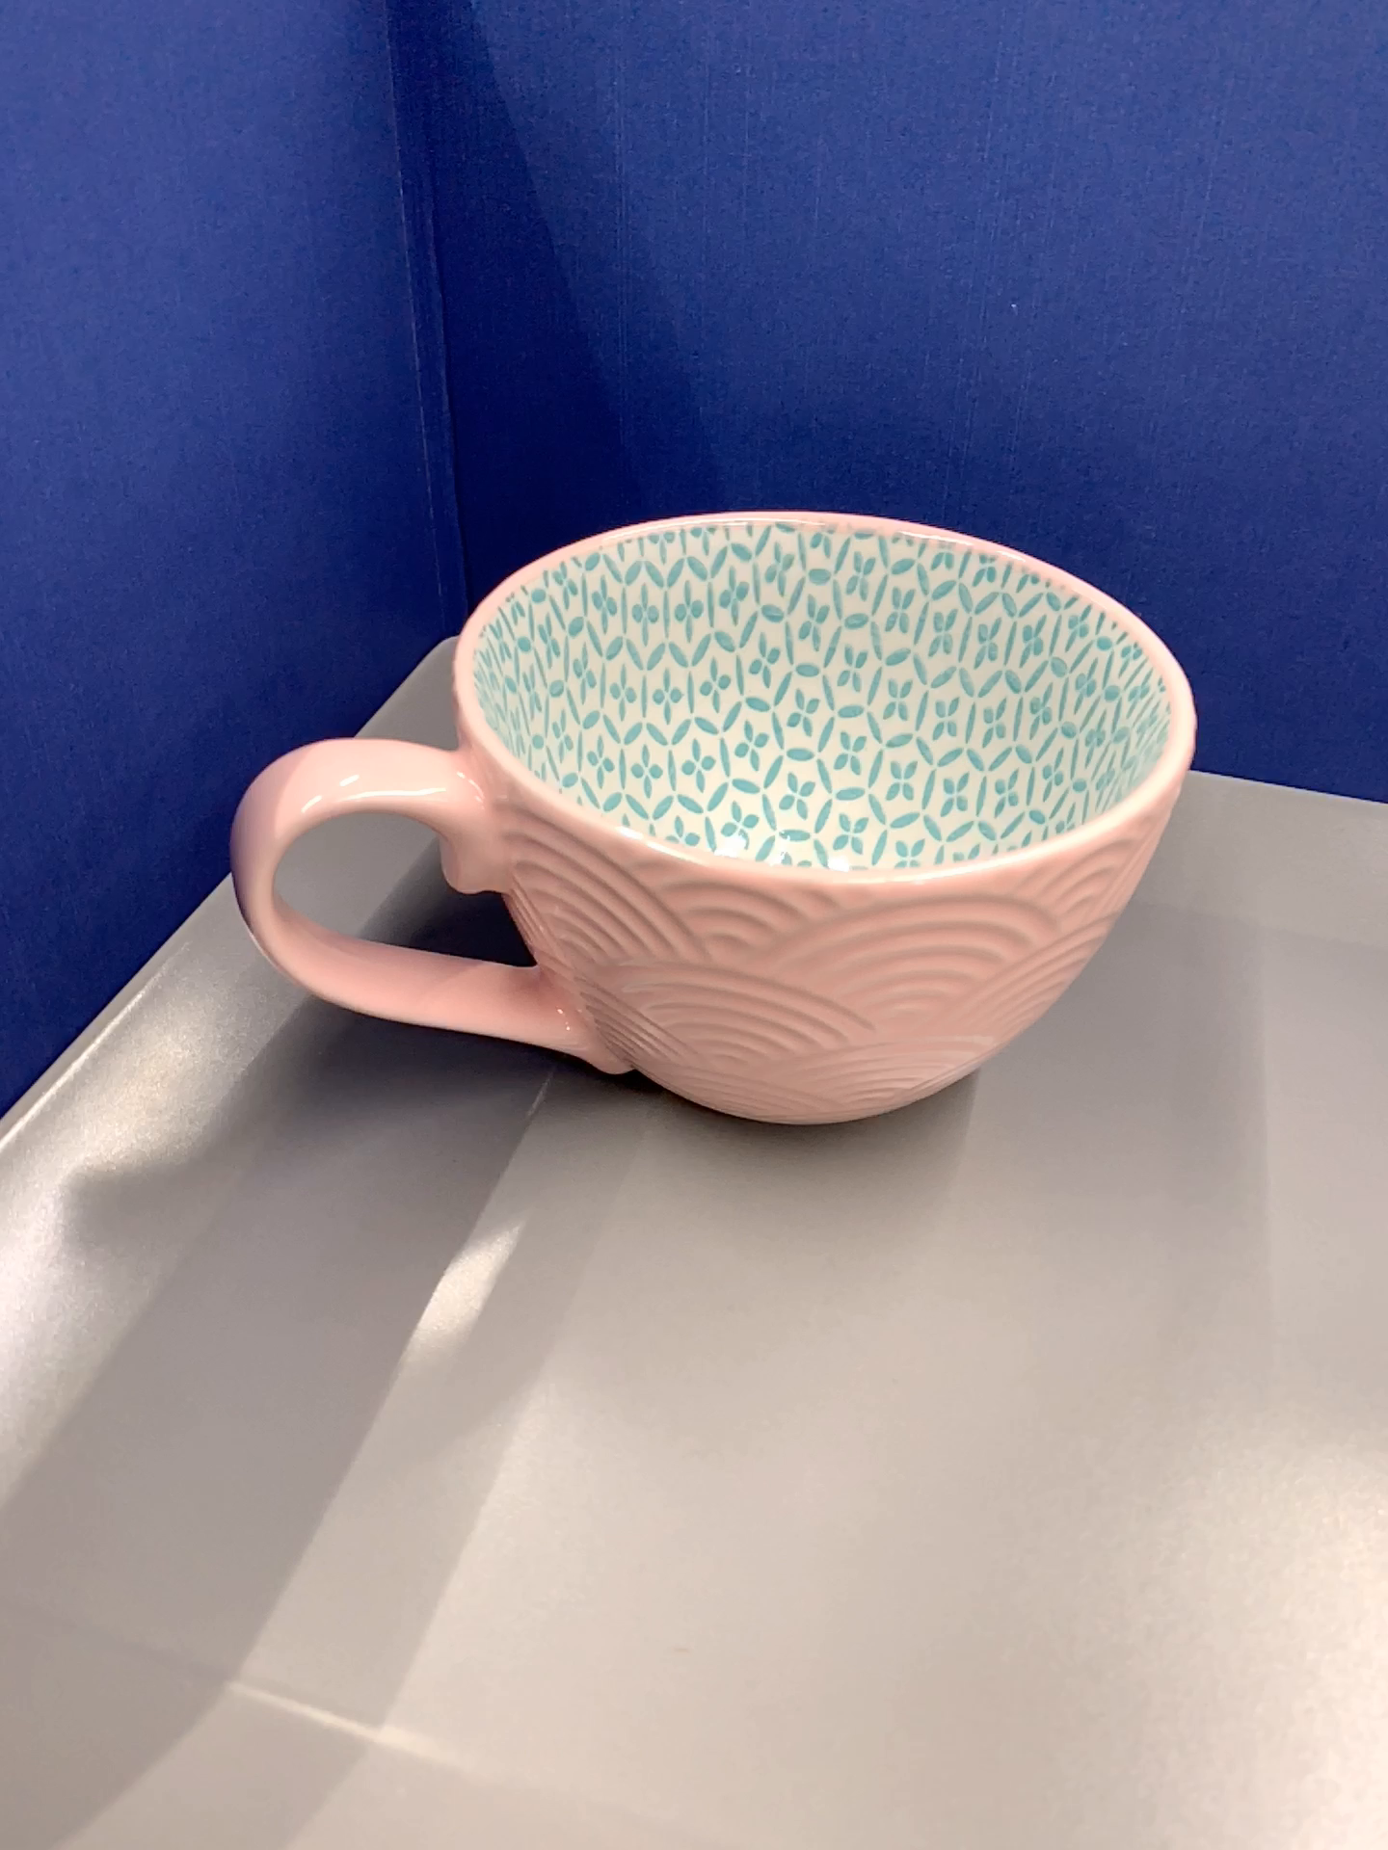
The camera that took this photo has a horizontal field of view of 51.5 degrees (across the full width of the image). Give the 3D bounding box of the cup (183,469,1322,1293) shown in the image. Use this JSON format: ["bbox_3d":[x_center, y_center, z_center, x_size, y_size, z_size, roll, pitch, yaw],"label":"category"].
[{"bbox_3d":[0.000,-0.016,0.243,0.150,0.064,0.105,-9,47,-14],"label":"cup"}]
